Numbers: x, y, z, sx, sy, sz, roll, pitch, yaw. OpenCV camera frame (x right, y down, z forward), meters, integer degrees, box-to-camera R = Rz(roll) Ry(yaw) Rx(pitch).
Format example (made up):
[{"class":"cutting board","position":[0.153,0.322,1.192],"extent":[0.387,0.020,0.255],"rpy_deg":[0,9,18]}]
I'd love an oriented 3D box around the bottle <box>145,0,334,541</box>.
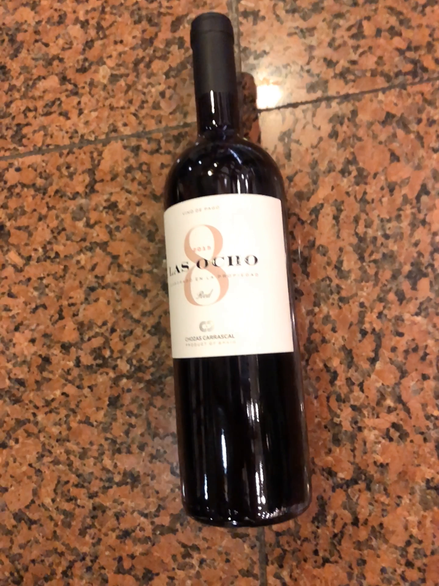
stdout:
[{"class":"bottle","position":[0.013,-0.040,0.304],"extent":[0.080,0.070,0.340],"rpy_deg":[-5,84,16]}]
